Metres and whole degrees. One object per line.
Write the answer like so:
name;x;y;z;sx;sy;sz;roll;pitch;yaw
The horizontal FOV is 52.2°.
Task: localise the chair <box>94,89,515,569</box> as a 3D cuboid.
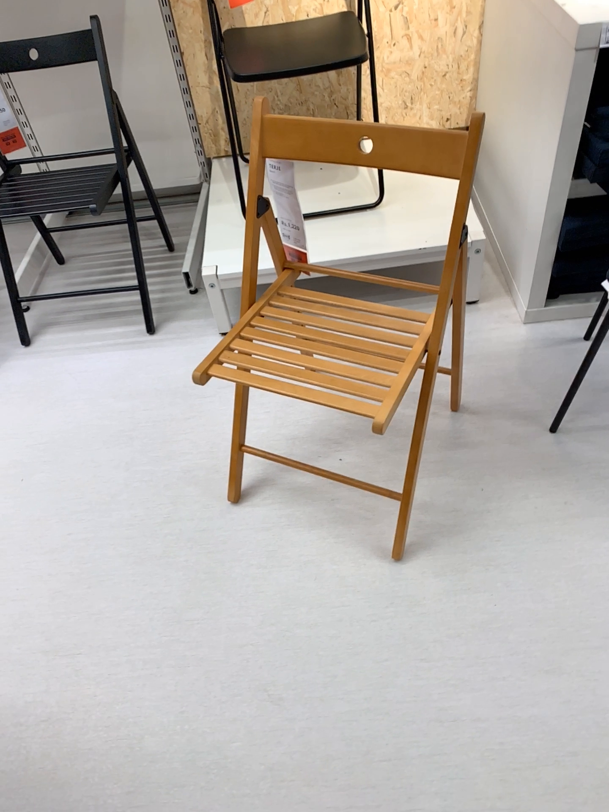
chair;0.064;-0.158;1.271;0.511;0.697;0.561;14;51;21
